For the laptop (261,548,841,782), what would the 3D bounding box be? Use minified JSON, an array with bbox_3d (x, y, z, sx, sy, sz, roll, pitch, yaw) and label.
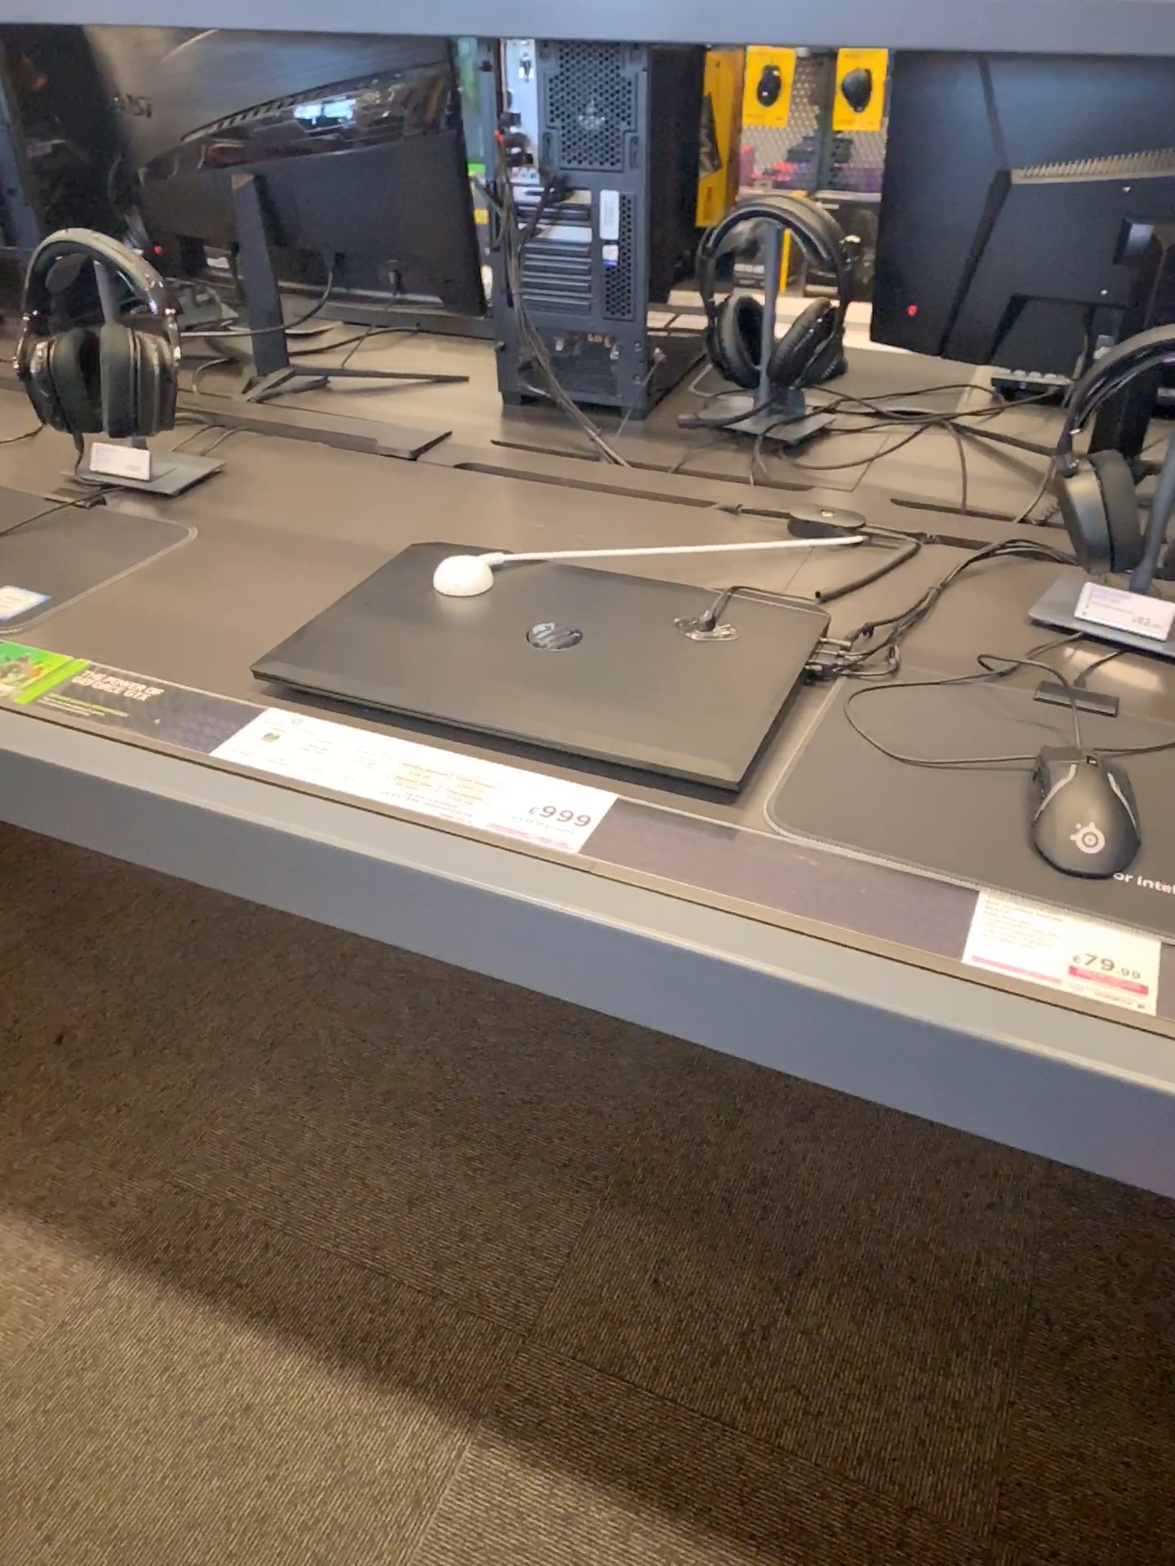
[{"bbox_3d":[-0.022,-0.111,0.966,0.394,0.001,0.257,13,37,19],"label":"laptop"}]
